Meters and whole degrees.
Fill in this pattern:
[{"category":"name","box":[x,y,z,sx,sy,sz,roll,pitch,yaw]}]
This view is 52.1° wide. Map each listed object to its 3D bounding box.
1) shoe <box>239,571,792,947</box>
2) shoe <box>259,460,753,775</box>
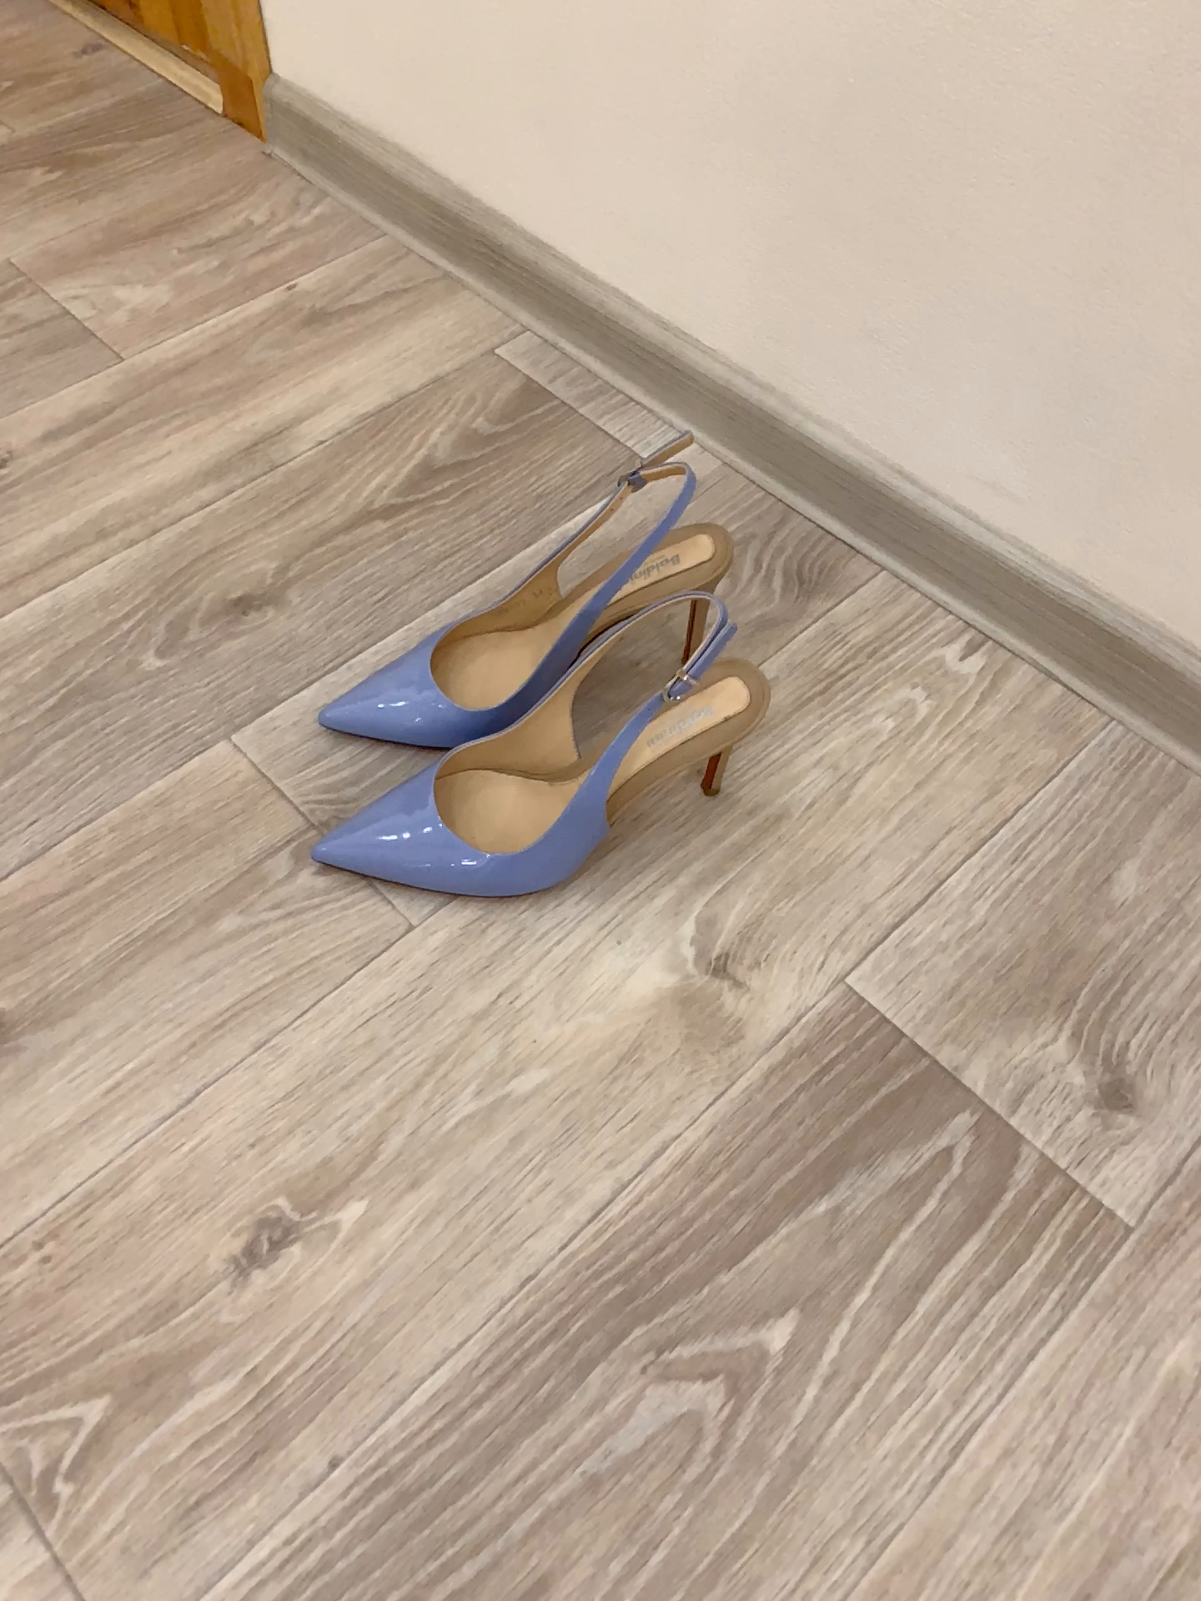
[{"category":"shoe","box":[-0.039,-0.020,0.586,0.230,0.100,0.090,-13,57,-11]},{"category":"shoe","box":[-0.049,-0.096,0.643,0.230,0.100,0.090,-9,56,-8]}]
